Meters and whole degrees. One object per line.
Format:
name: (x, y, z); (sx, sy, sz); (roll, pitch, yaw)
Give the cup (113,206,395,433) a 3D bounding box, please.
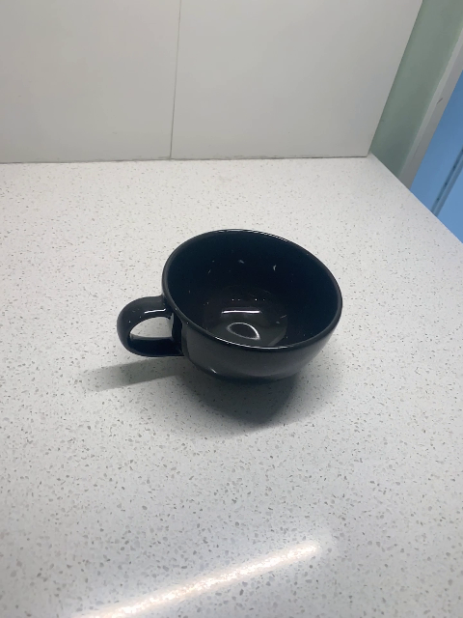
cup: (0.004, -0.002, 0.287); (0.130, 0.060, 0.110); (-7, 47, -19)
